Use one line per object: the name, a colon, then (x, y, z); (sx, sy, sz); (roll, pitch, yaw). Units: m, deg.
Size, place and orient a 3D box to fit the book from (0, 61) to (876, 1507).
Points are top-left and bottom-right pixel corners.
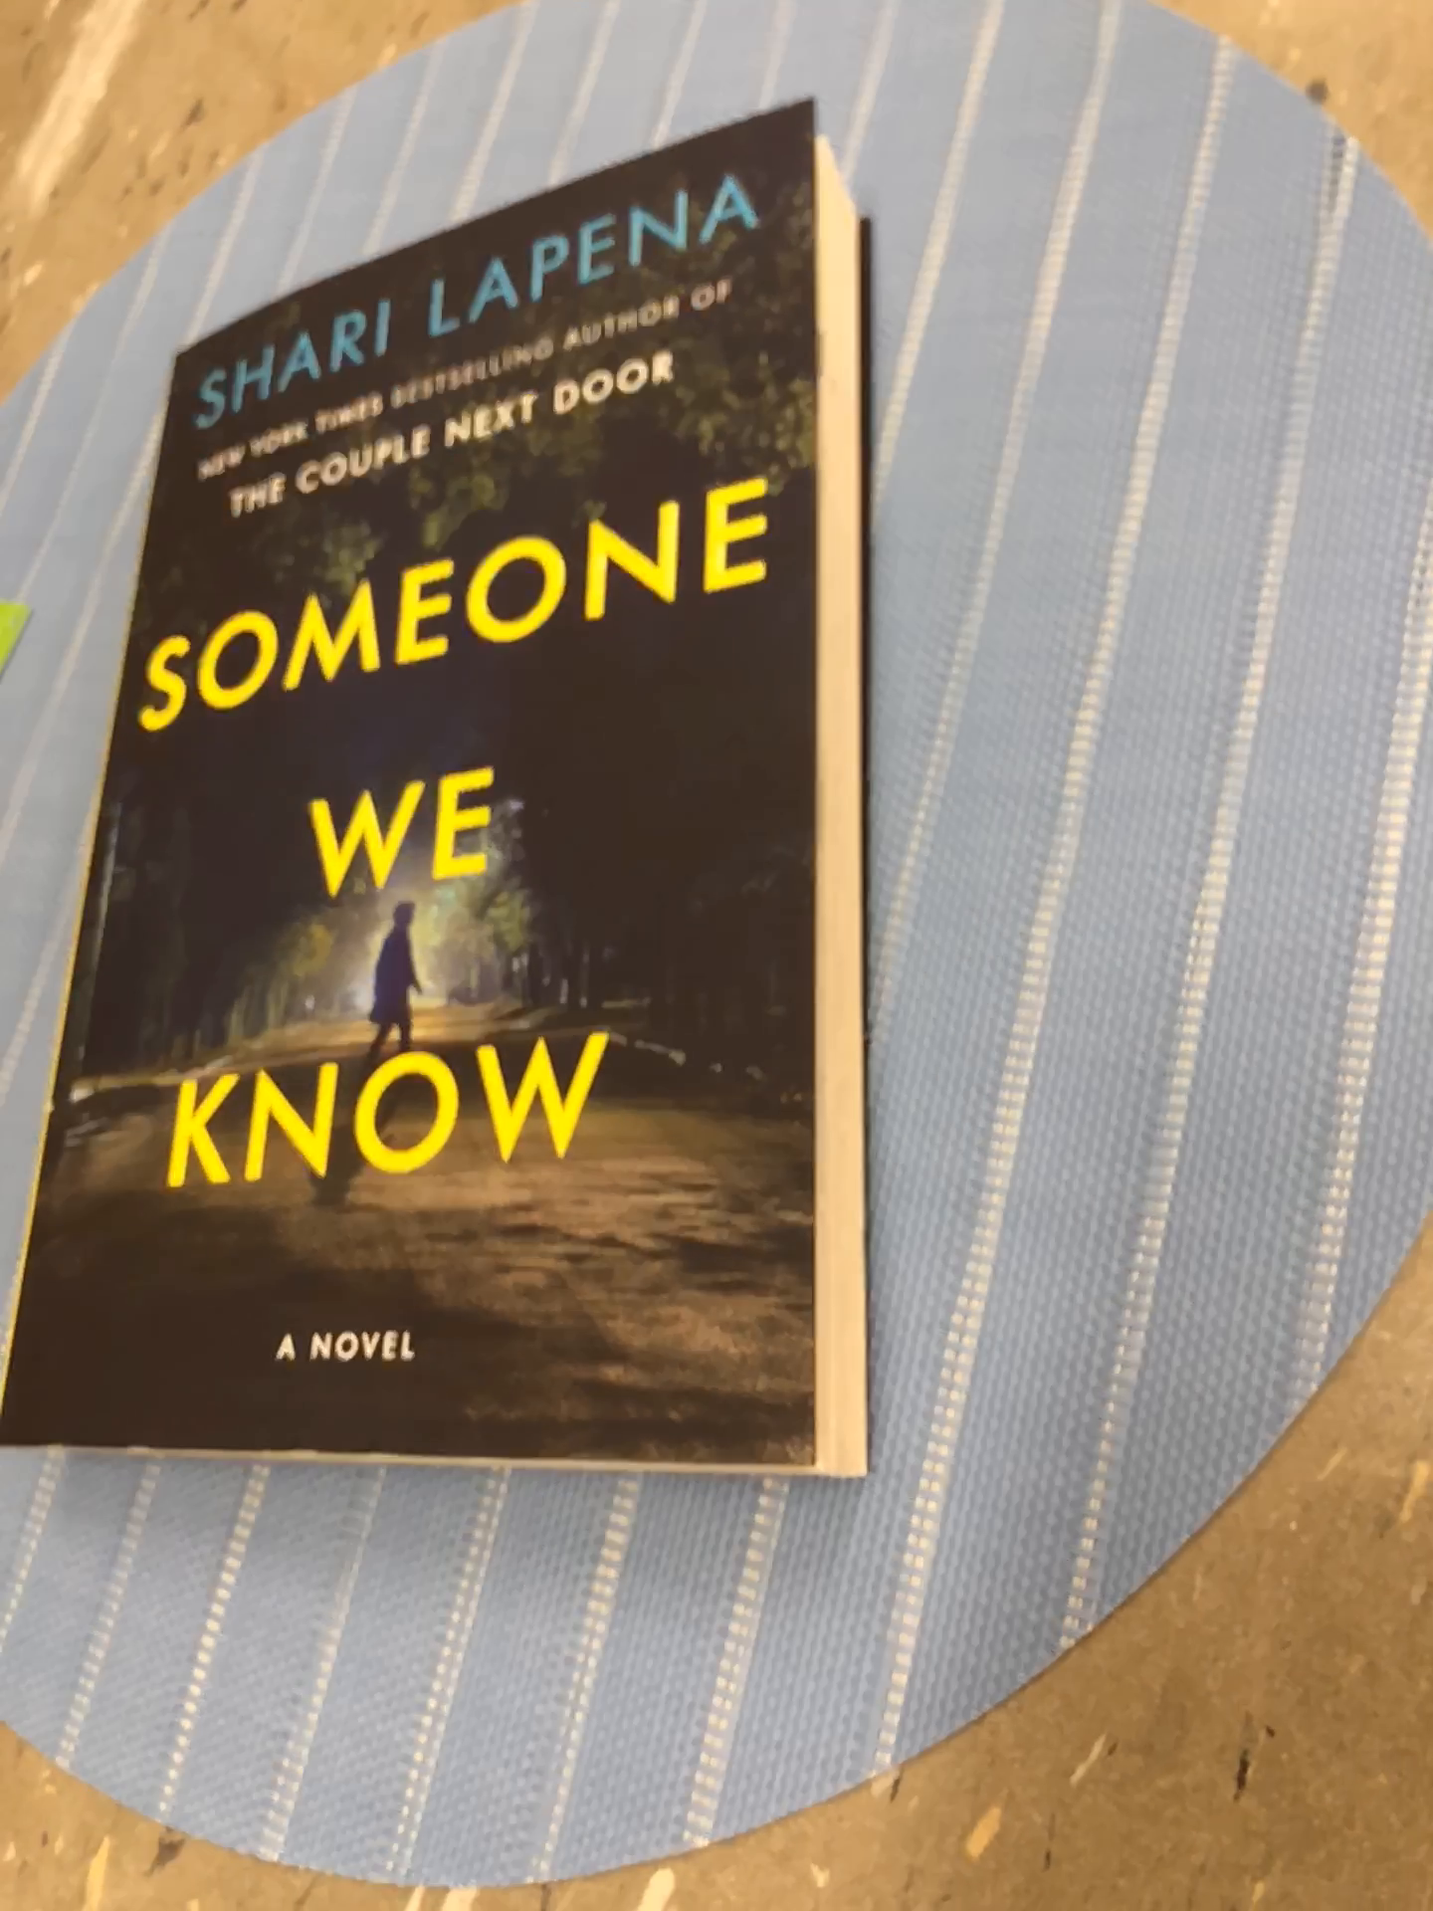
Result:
book: (-0.054, -0.026, 0.280); (0.162, 0.030, 0.225); (-8, 69, 27)
